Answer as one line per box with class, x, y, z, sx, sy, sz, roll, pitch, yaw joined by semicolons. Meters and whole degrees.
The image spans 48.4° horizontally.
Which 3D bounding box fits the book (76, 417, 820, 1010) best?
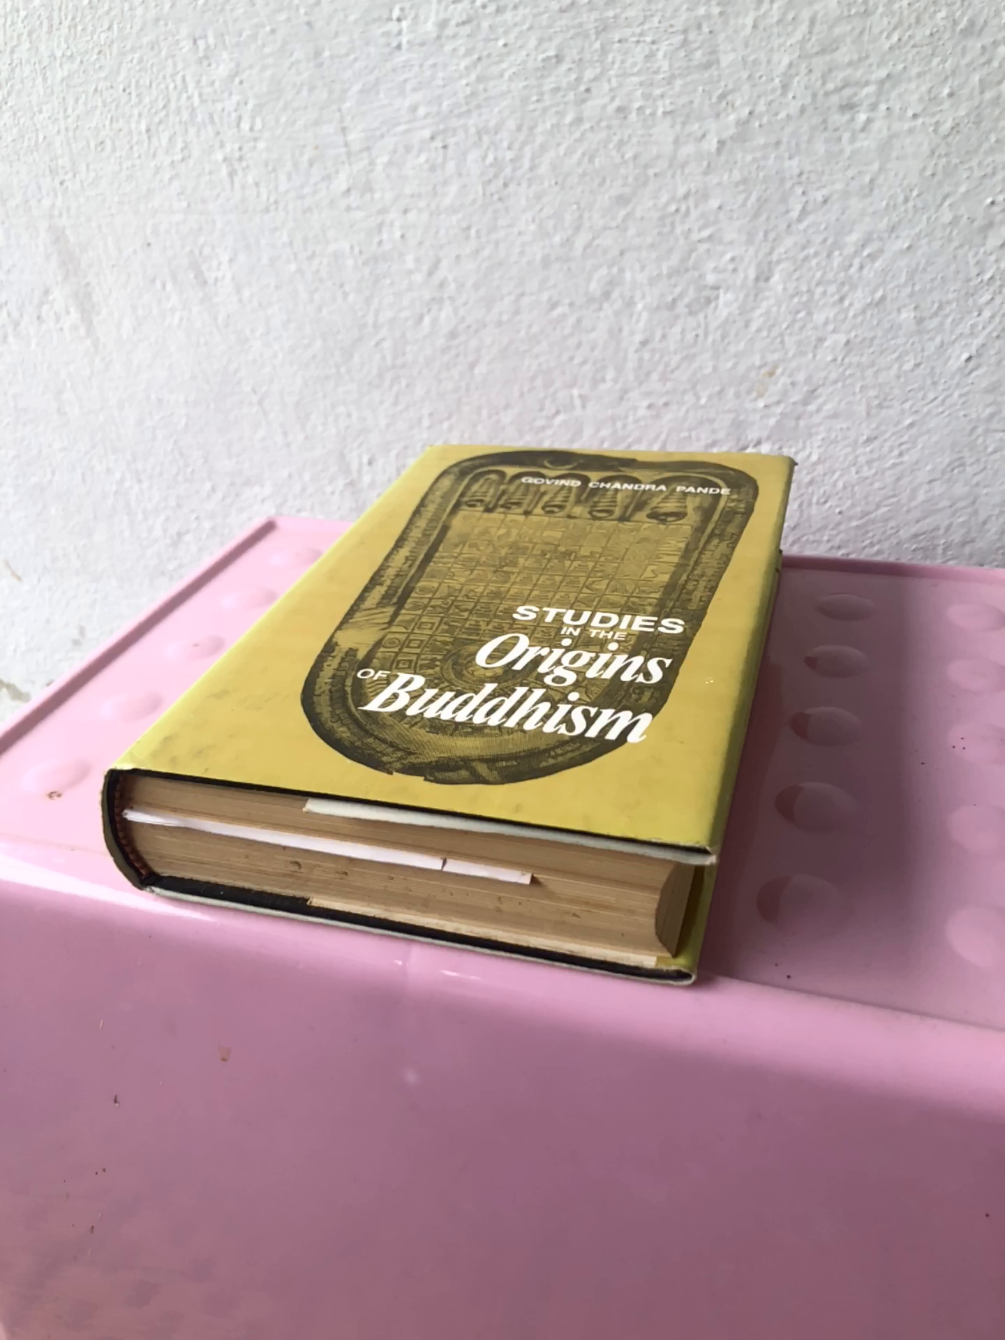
book;0.010;-0.015;0.344;0.150;0.040;0.241;7;33;16
